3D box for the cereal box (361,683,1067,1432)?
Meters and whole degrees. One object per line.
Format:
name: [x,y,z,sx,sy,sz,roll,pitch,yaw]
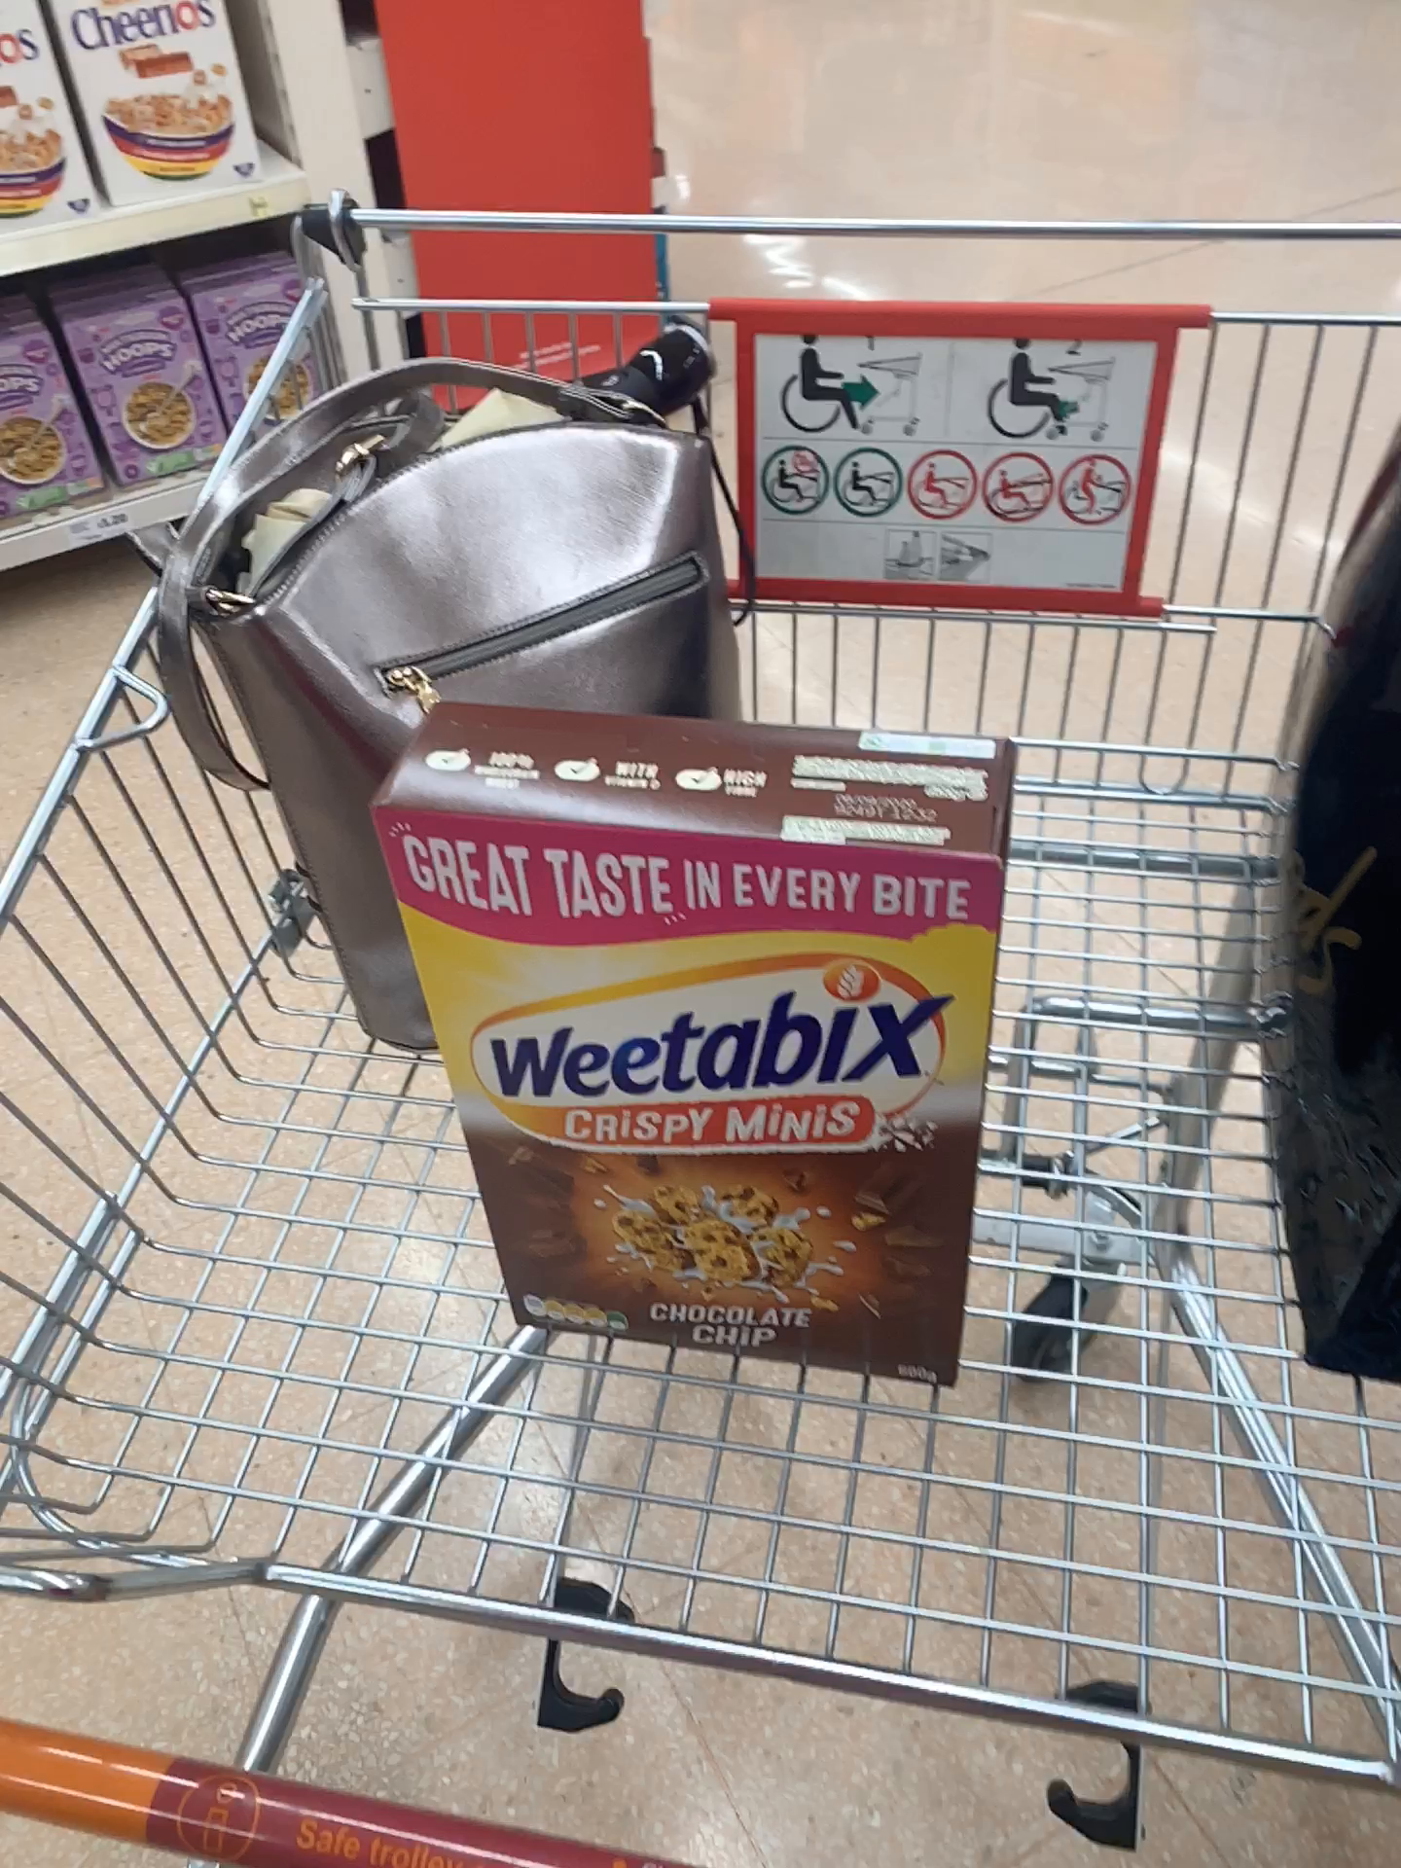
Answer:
cereal box: [0.013,0.067,0.555,0.210,0.327,0.071,5,44,9]
